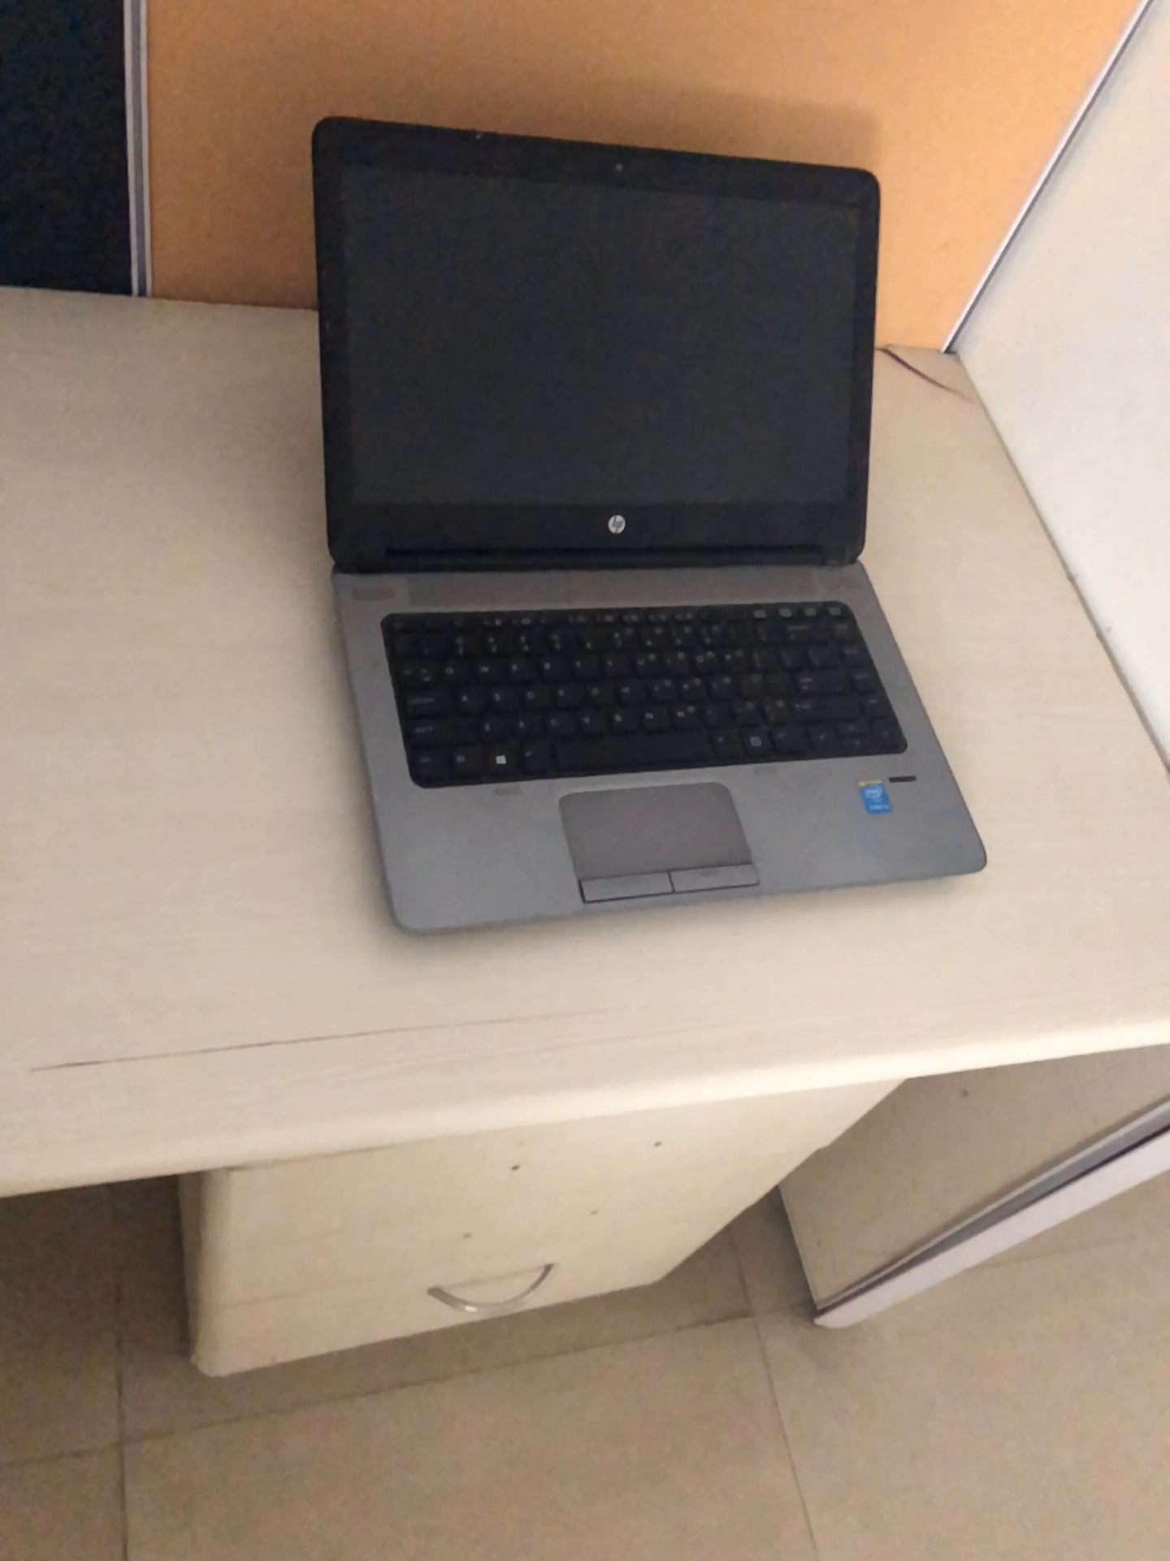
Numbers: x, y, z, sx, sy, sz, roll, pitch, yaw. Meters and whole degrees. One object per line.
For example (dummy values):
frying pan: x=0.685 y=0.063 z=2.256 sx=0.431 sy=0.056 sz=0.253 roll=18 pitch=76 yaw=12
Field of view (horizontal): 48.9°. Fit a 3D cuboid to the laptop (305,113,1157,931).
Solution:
laptop: x=0.047 y=-0.146 z=0.691 sx=0.324 sy=0.167 sz=0.372 roll=-5 pitch=60 yaw=-20
